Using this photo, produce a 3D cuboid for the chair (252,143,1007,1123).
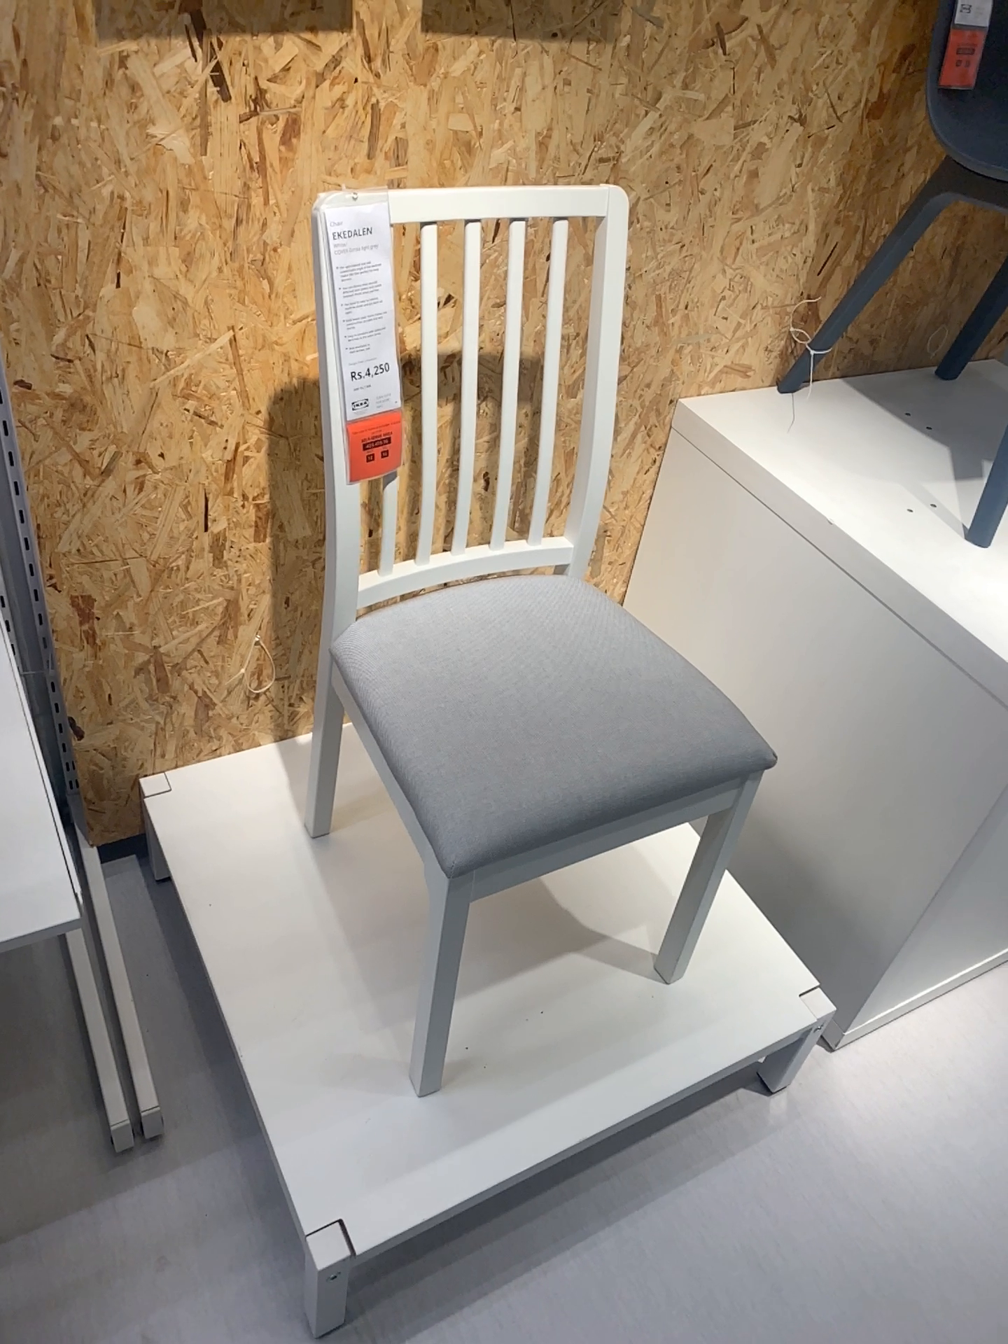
[{"bbox_3d":[0.023,-0.028,1.136,0.431,0.886,0.511,-15,46,-27],"label":"chair"}]
